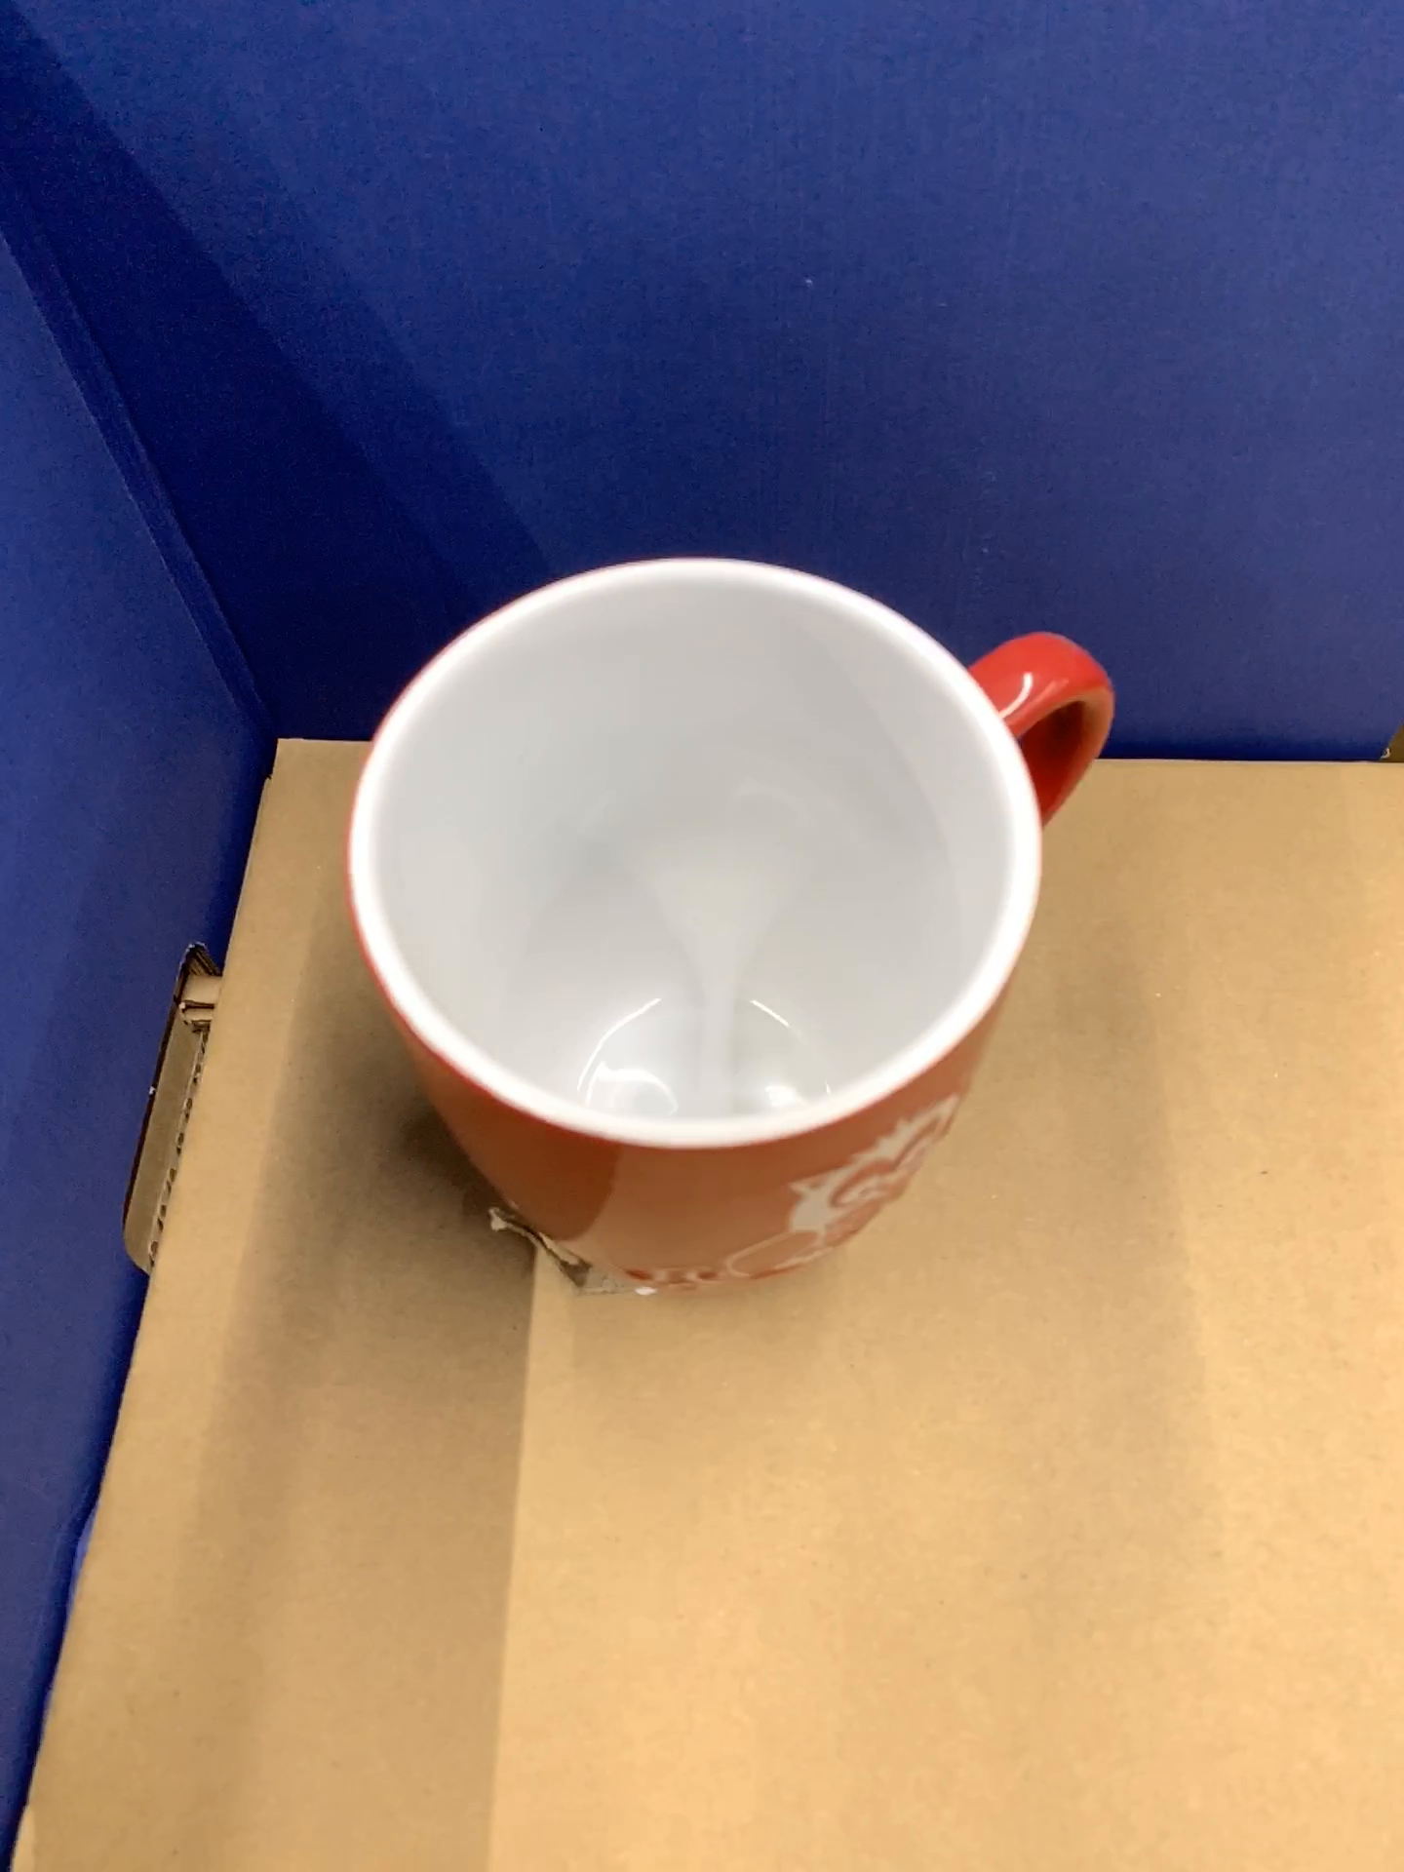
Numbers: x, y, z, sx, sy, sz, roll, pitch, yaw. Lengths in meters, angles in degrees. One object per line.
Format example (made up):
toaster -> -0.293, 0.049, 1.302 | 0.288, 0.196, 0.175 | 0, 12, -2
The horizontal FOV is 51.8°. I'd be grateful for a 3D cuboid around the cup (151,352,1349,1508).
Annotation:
cup -> 0.009, -0.002, 0.225 | 0.100, 0.091, 0.120 | 39, 68, 23
